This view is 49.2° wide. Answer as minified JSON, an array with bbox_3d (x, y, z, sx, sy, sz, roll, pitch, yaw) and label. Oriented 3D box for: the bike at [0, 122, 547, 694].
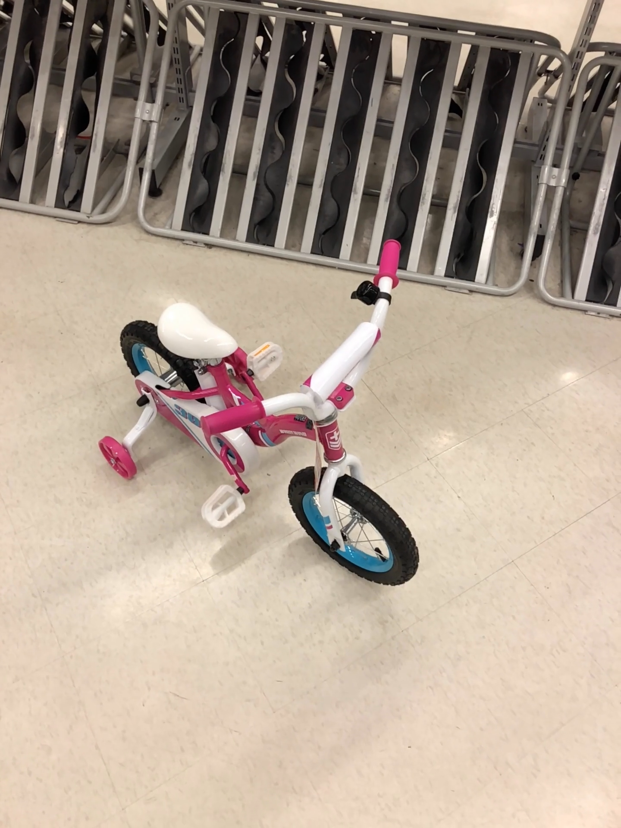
[{"bbox_3d":[-0.135,-0.027,1.265,0.816,0.625,0.462,35,59,24],"label":"bike"}]
